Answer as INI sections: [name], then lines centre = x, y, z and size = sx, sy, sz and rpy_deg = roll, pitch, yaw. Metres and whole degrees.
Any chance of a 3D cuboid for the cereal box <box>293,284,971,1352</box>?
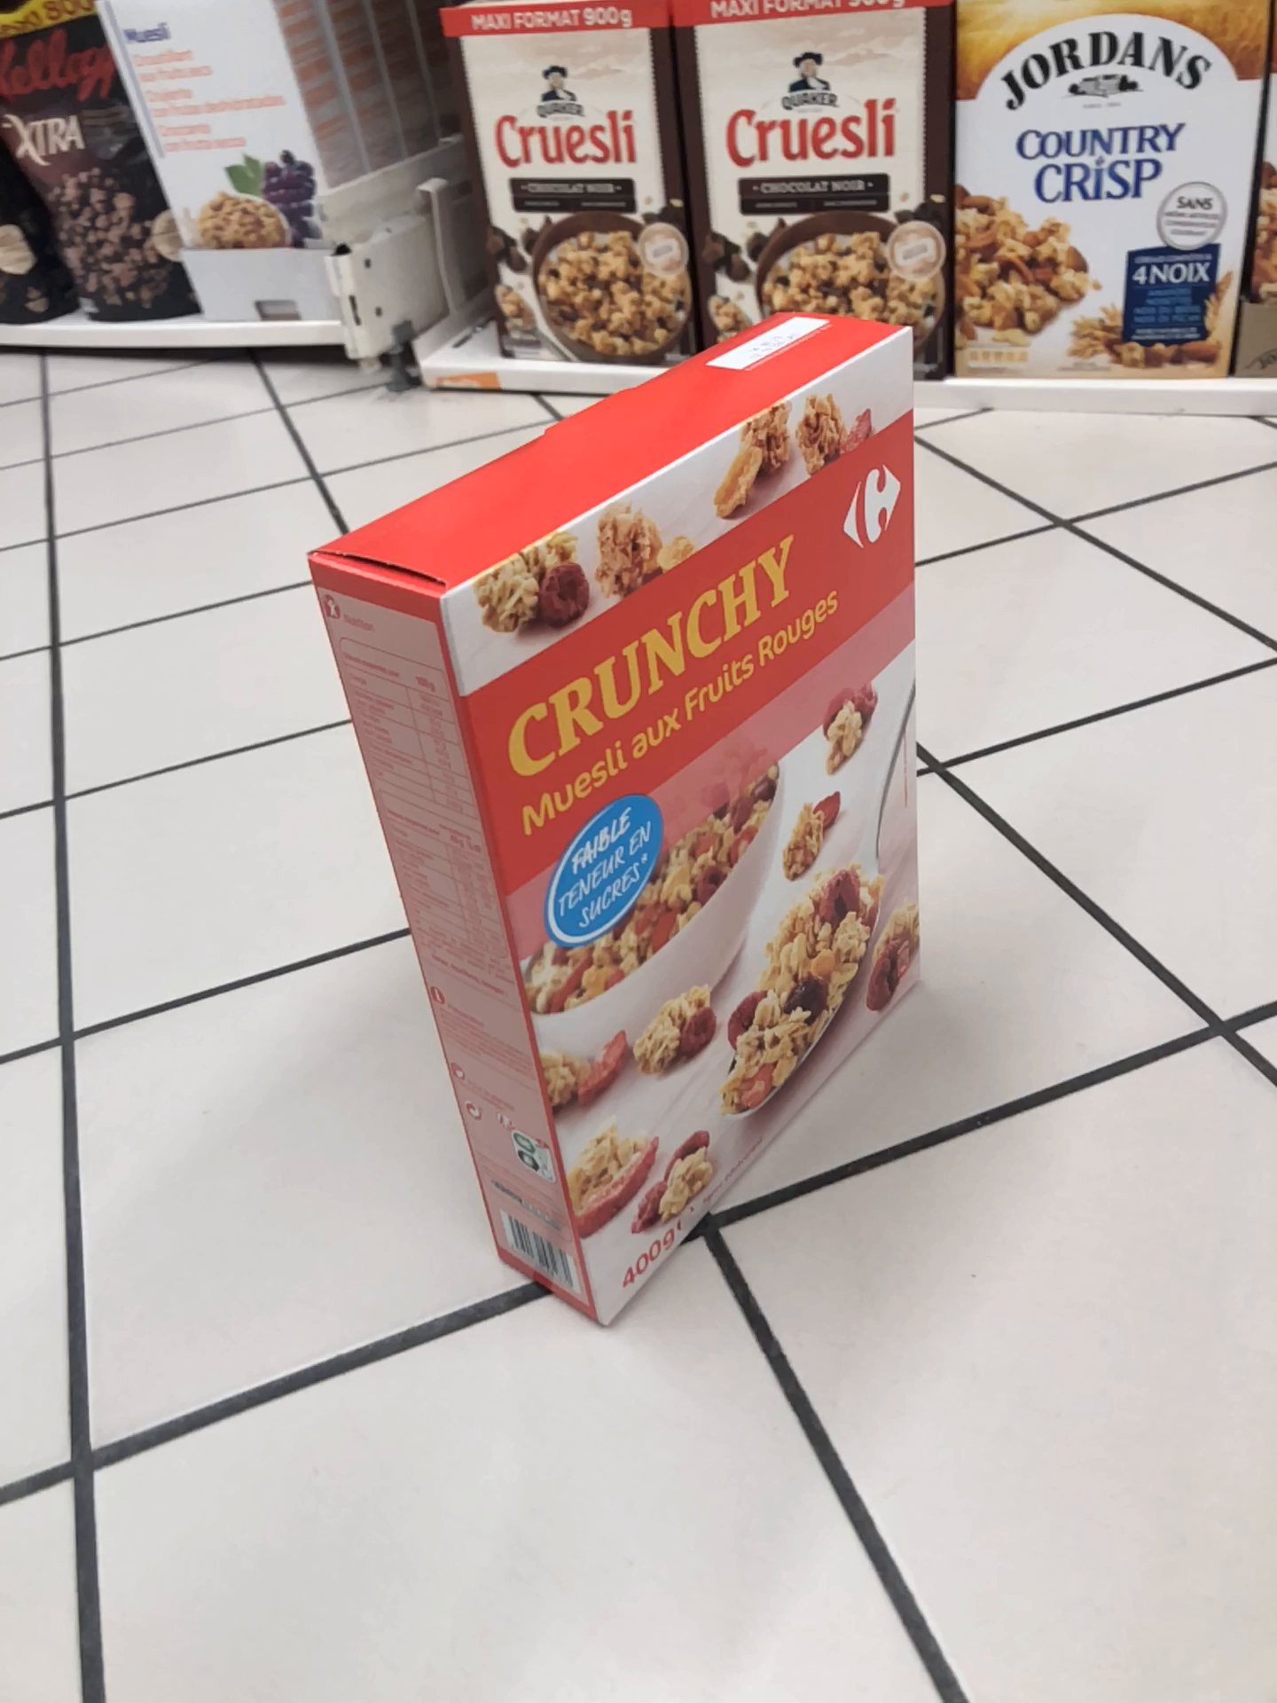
[cereal box]
centre = 0.023, -0.013, 0.423
size = 0.060, 0.249, 0.201
rpy_deg = 20, 43, 34
